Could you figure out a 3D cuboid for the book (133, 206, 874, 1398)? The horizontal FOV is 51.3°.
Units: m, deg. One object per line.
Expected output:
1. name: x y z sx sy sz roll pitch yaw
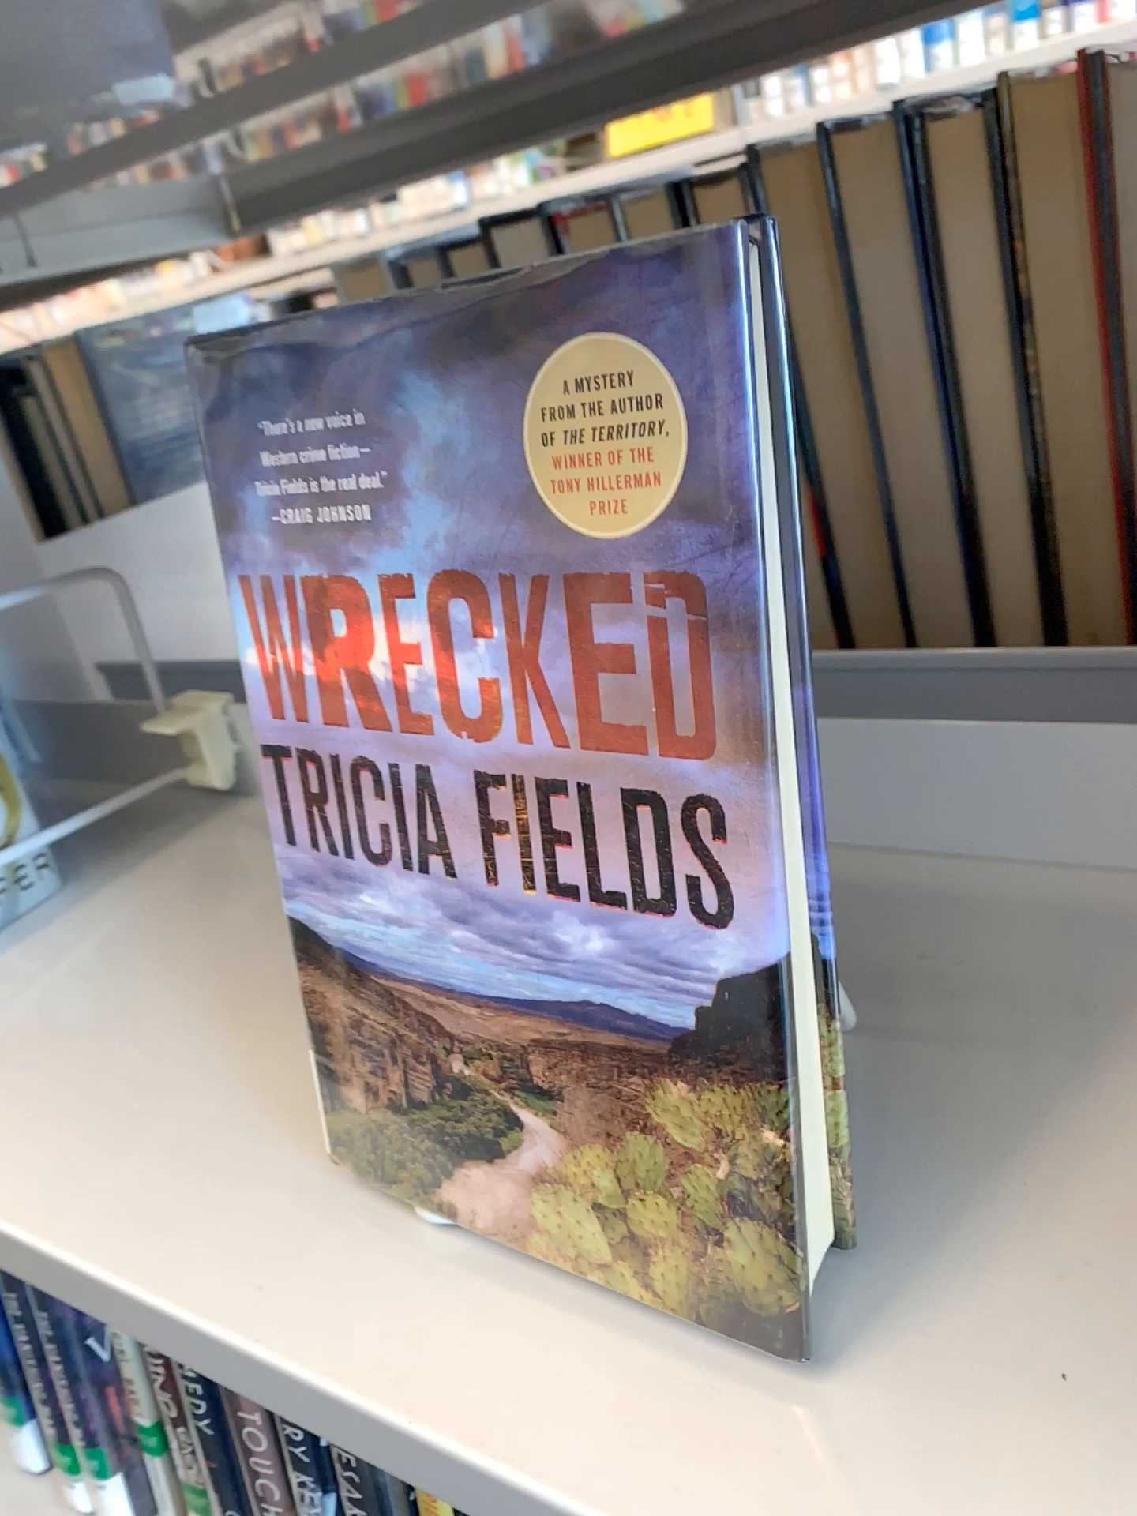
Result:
1. book: -0.017 0.011 0.260 0.151 0.214 0.034 5 19 38
